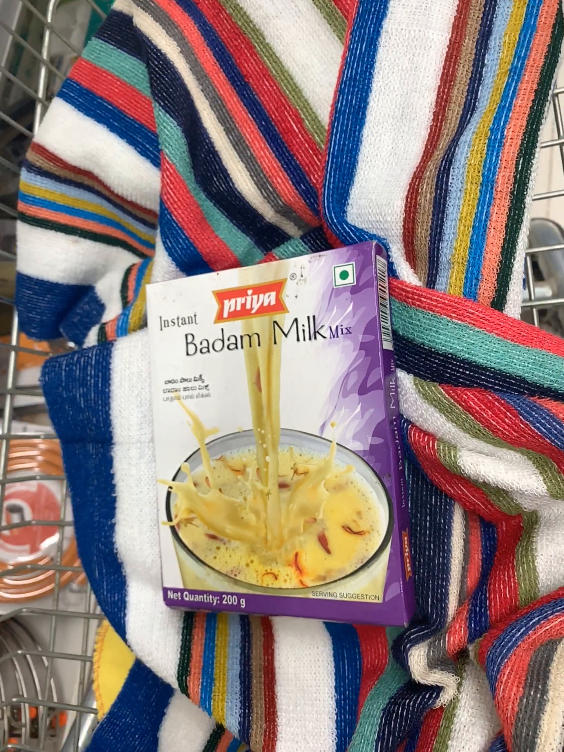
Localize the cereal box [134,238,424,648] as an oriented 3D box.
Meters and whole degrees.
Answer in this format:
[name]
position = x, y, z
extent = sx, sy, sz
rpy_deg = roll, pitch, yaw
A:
[cereal box]
position = -0.005, 0.030, 0.266
extent = 0.120, 0.030, 0.160
rpy_deg = -5, 85, 22
